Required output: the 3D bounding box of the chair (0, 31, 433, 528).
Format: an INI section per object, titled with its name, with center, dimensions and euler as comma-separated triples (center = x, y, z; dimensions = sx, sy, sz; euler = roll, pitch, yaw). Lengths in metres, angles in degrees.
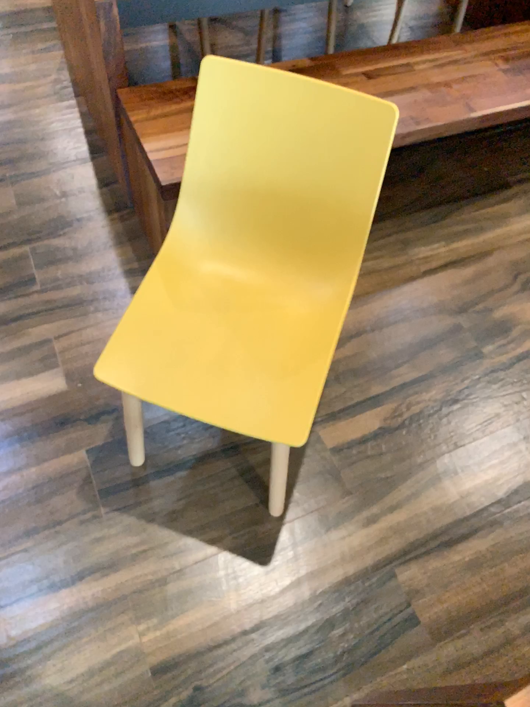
[chair]
center = -0.054, -0.079, 1.047
dimensions = 0.450, 0.716, 0.503
euler = 18, 57, 6
